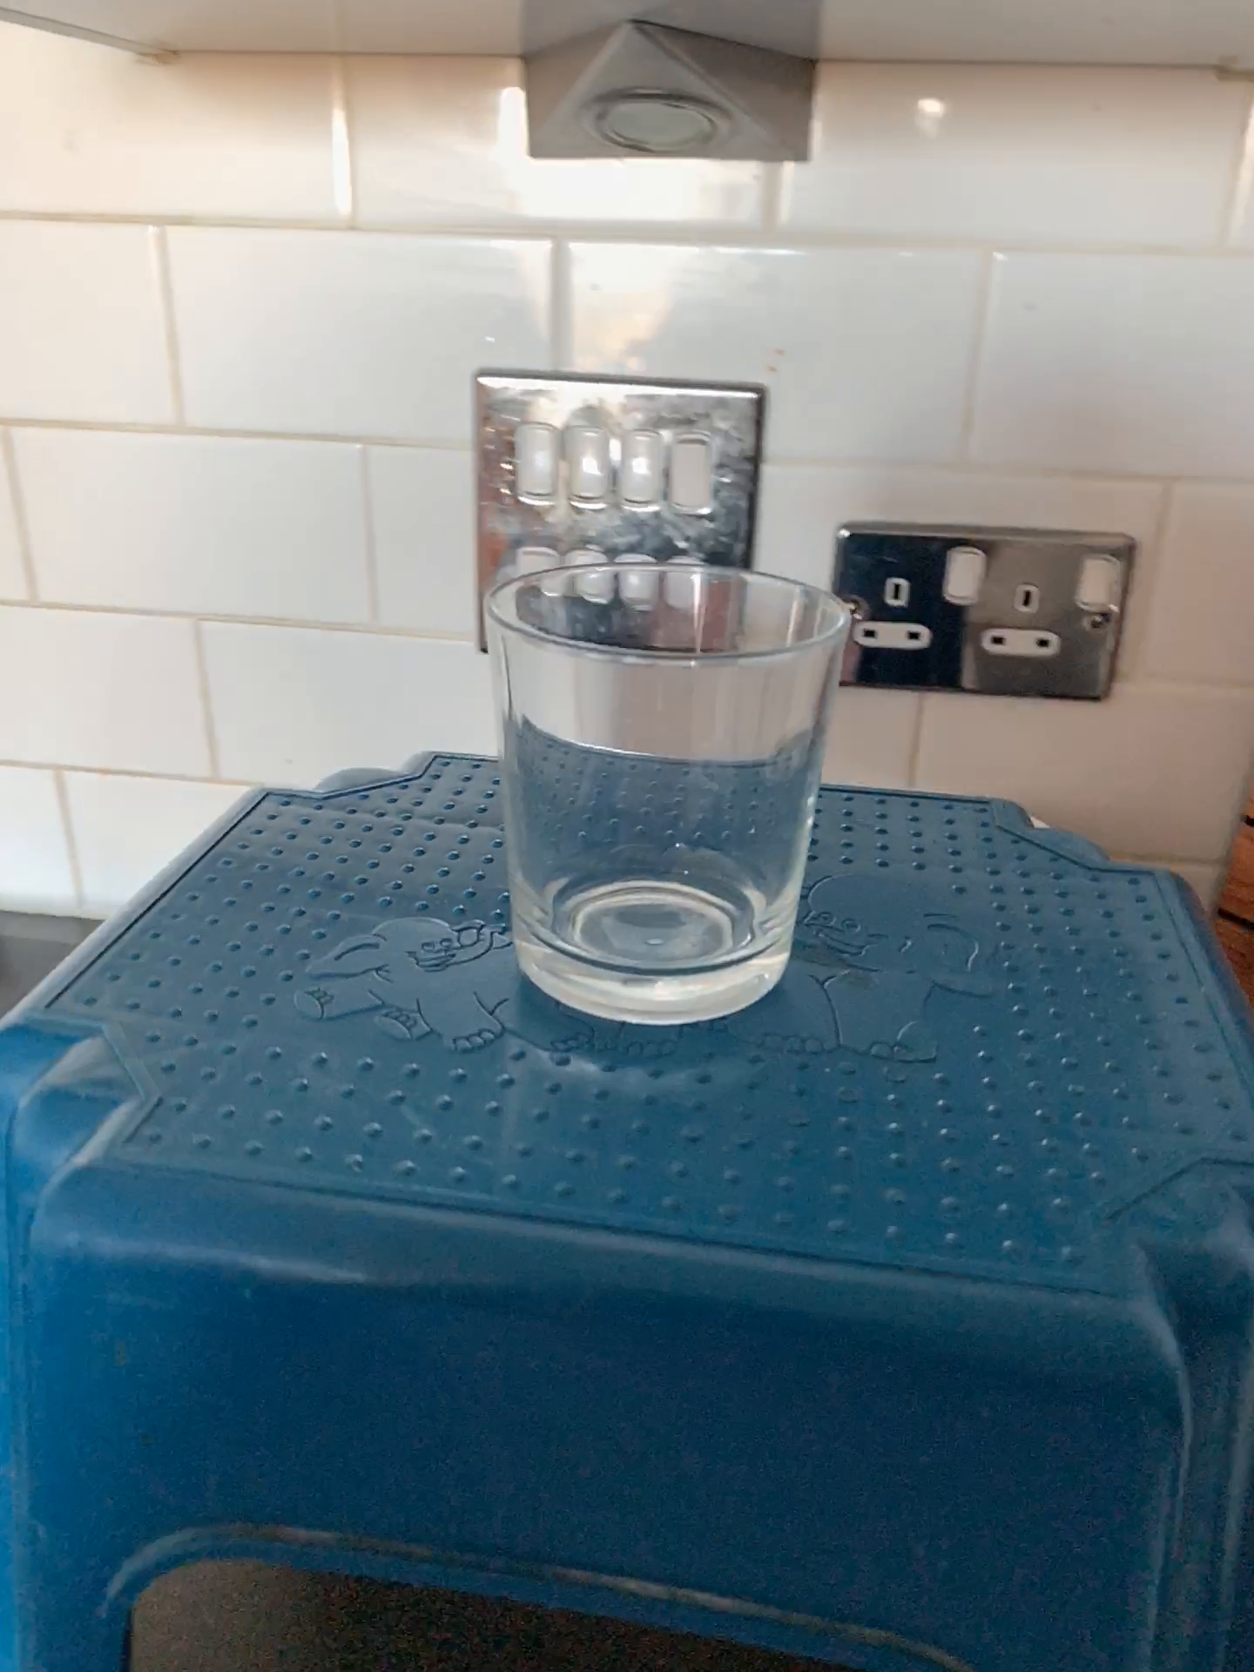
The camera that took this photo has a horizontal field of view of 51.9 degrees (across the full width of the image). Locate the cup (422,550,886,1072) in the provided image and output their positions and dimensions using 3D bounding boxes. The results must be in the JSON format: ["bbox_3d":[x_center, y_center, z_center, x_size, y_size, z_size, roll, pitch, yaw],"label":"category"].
[{"bbox_3d":[0.006,-0.011,0.292,0.076,0.085,0.067,15,28,26],"label":"cup"}]
